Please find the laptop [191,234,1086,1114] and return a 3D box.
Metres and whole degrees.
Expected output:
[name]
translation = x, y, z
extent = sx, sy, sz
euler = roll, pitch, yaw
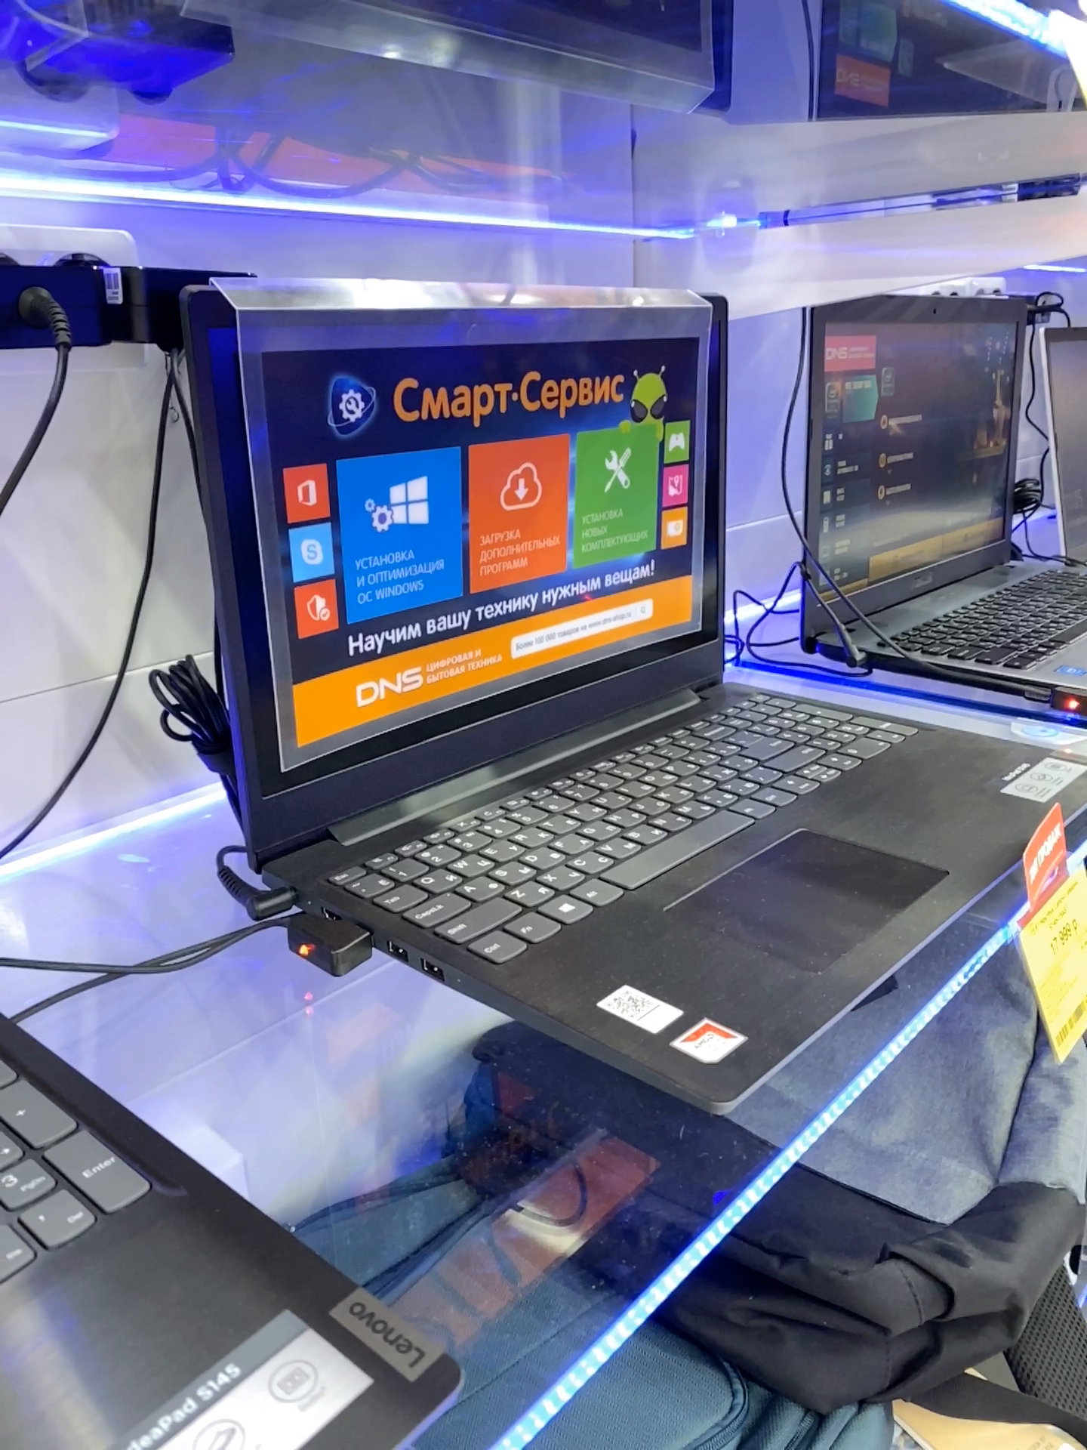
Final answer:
[laptop]
translation = 0.086, -0.069, 0.501
extent = 0.258, 0.239, 0.362
euler = 15, 24, 41
